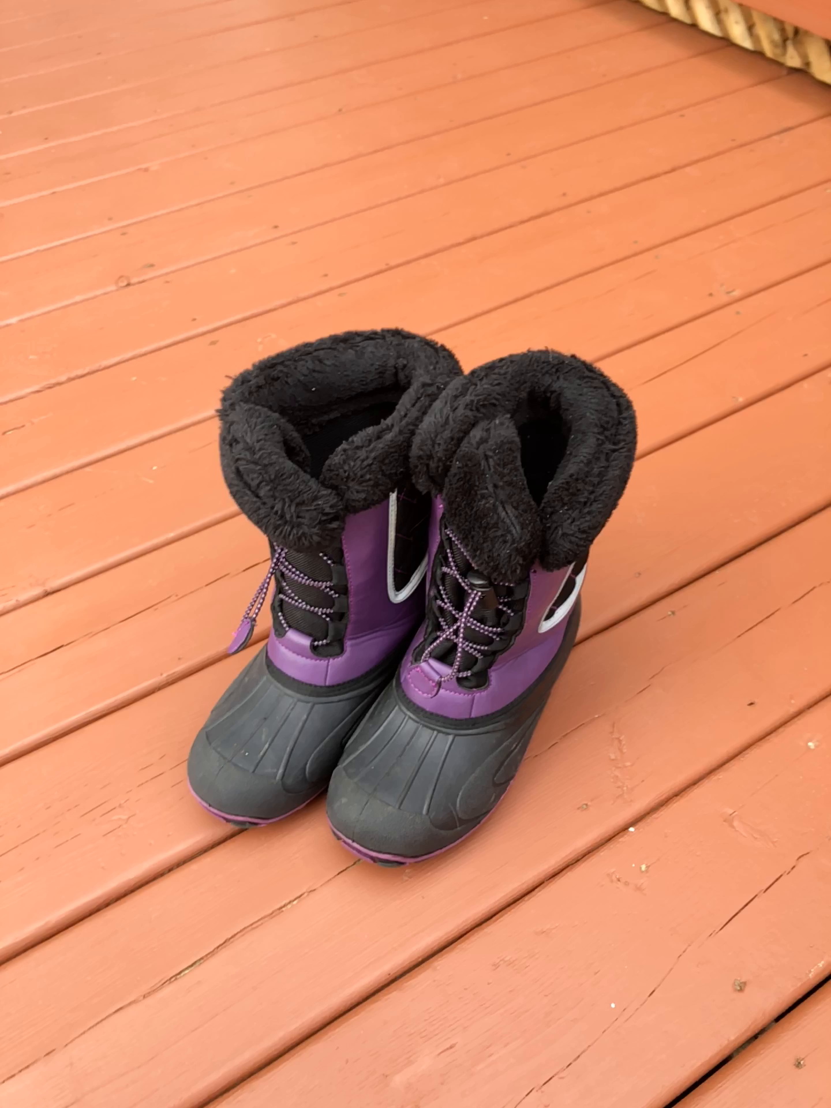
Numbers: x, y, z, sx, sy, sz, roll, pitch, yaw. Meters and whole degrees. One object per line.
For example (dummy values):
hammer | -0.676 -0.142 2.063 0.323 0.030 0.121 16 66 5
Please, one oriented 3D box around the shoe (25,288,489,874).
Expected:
shoe | -0.073 0.022 0.604 0.120 0.279 0.240 28 54 24

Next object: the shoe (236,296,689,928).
shoe | 0.037 0.040 0.560 0.120 0.279 0.240 24 53 22
